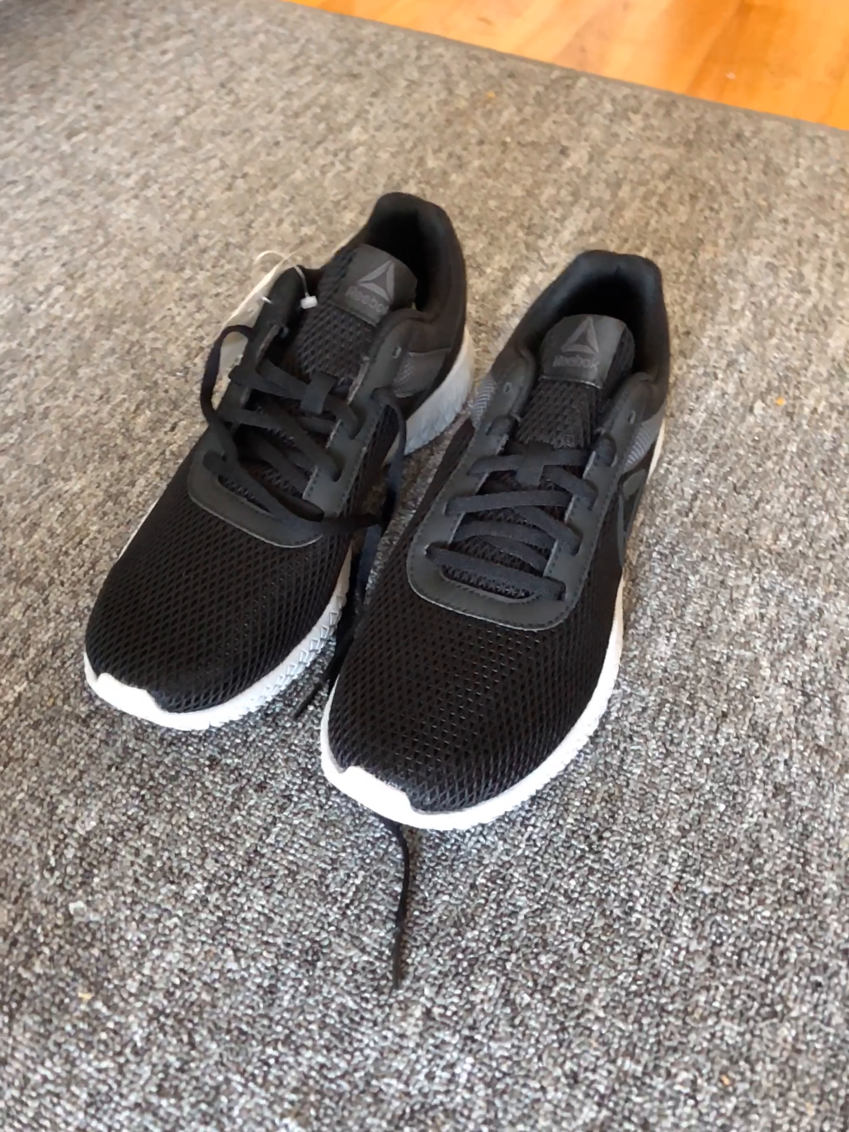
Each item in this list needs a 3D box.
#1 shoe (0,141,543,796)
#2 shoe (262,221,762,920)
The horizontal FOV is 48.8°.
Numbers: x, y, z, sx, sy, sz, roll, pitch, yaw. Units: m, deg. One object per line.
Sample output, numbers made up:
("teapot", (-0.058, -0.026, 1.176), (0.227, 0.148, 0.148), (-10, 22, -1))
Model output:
("shoe", (-0.057, -0.067, 0.431), (0.116, 0.099, 0.302), (20, 54, 14))
("shoe", (0.055, -0.021, 0.420), (0.110, 0.099, 0.302), (19, 54, 13))
